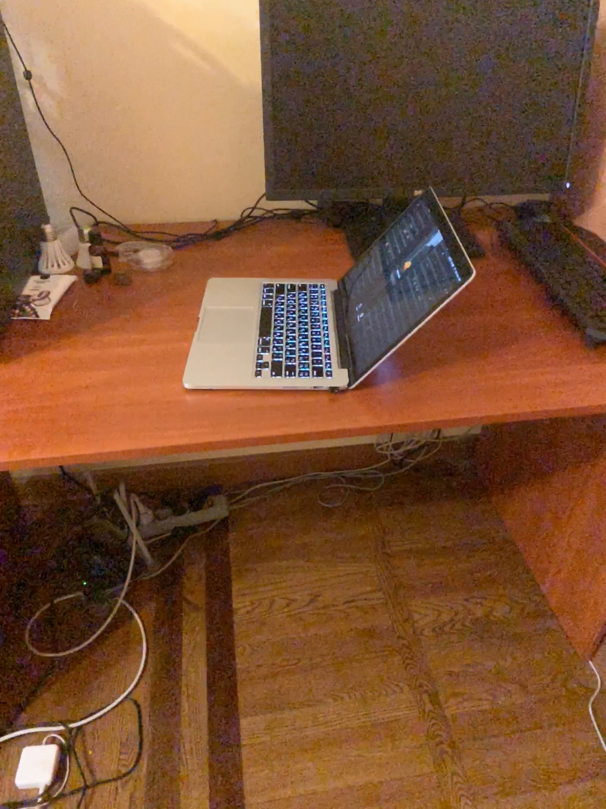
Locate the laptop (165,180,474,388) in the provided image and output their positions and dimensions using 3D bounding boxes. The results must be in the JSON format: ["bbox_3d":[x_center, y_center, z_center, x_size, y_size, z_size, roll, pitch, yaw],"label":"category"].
[{"bbox_3d":[0.017,-0.172,0.813,0.333,0.139,0.287,-1,38,-1],"label":"laptop"}]
